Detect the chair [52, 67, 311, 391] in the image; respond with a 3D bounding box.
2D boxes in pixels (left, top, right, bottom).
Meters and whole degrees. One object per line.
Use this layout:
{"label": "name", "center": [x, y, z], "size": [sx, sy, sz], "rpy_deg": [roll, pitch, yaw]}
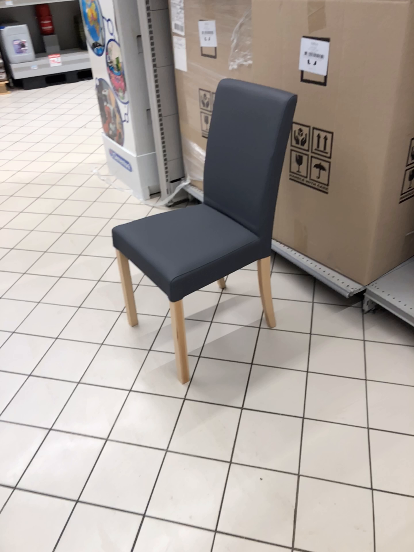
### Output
{"label": "chair", "center": [-0.049, -0.181, 1.517], "size": [0.572, 0.825, 0.471], "rpy_deg": [-27, 40, -29]}
